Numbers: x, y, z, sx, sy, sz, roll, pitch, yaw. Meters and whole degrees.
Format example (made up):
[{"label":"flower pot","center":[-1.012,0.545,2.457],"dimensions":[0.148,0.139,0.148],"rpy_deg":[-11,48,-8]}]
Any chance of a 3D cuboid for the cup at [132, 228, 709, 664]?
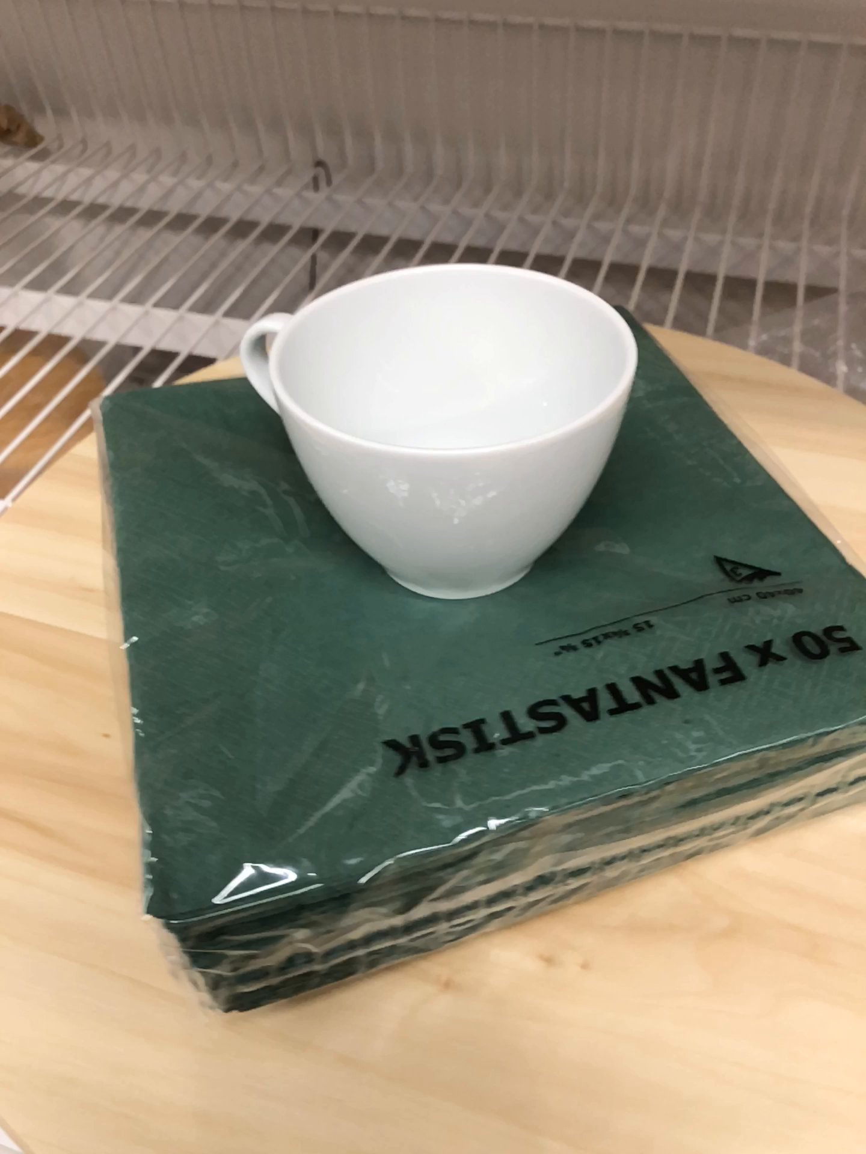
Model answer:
[{"label":"cup","center":[0.000,-0.043,0.267],"dimensions":[0.120,0.050,0.090],"rpy_deg":[19,48,21]}]
